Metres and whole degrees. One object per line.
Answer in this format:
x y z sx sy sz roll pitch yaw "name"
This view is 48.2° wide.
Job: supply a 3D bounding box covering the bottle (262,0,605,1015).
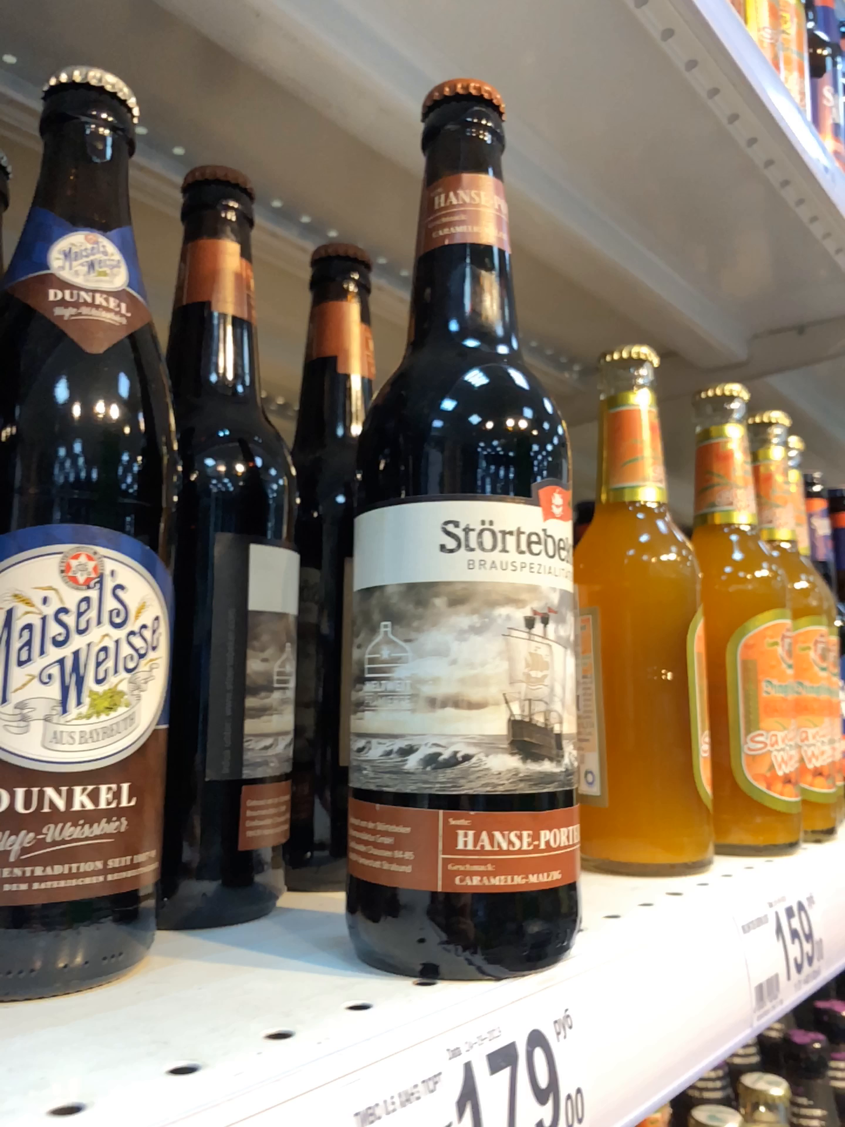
0.006 -0.025 0.294 0.070 0.281 0.070 1 -9 0 "bottle"
